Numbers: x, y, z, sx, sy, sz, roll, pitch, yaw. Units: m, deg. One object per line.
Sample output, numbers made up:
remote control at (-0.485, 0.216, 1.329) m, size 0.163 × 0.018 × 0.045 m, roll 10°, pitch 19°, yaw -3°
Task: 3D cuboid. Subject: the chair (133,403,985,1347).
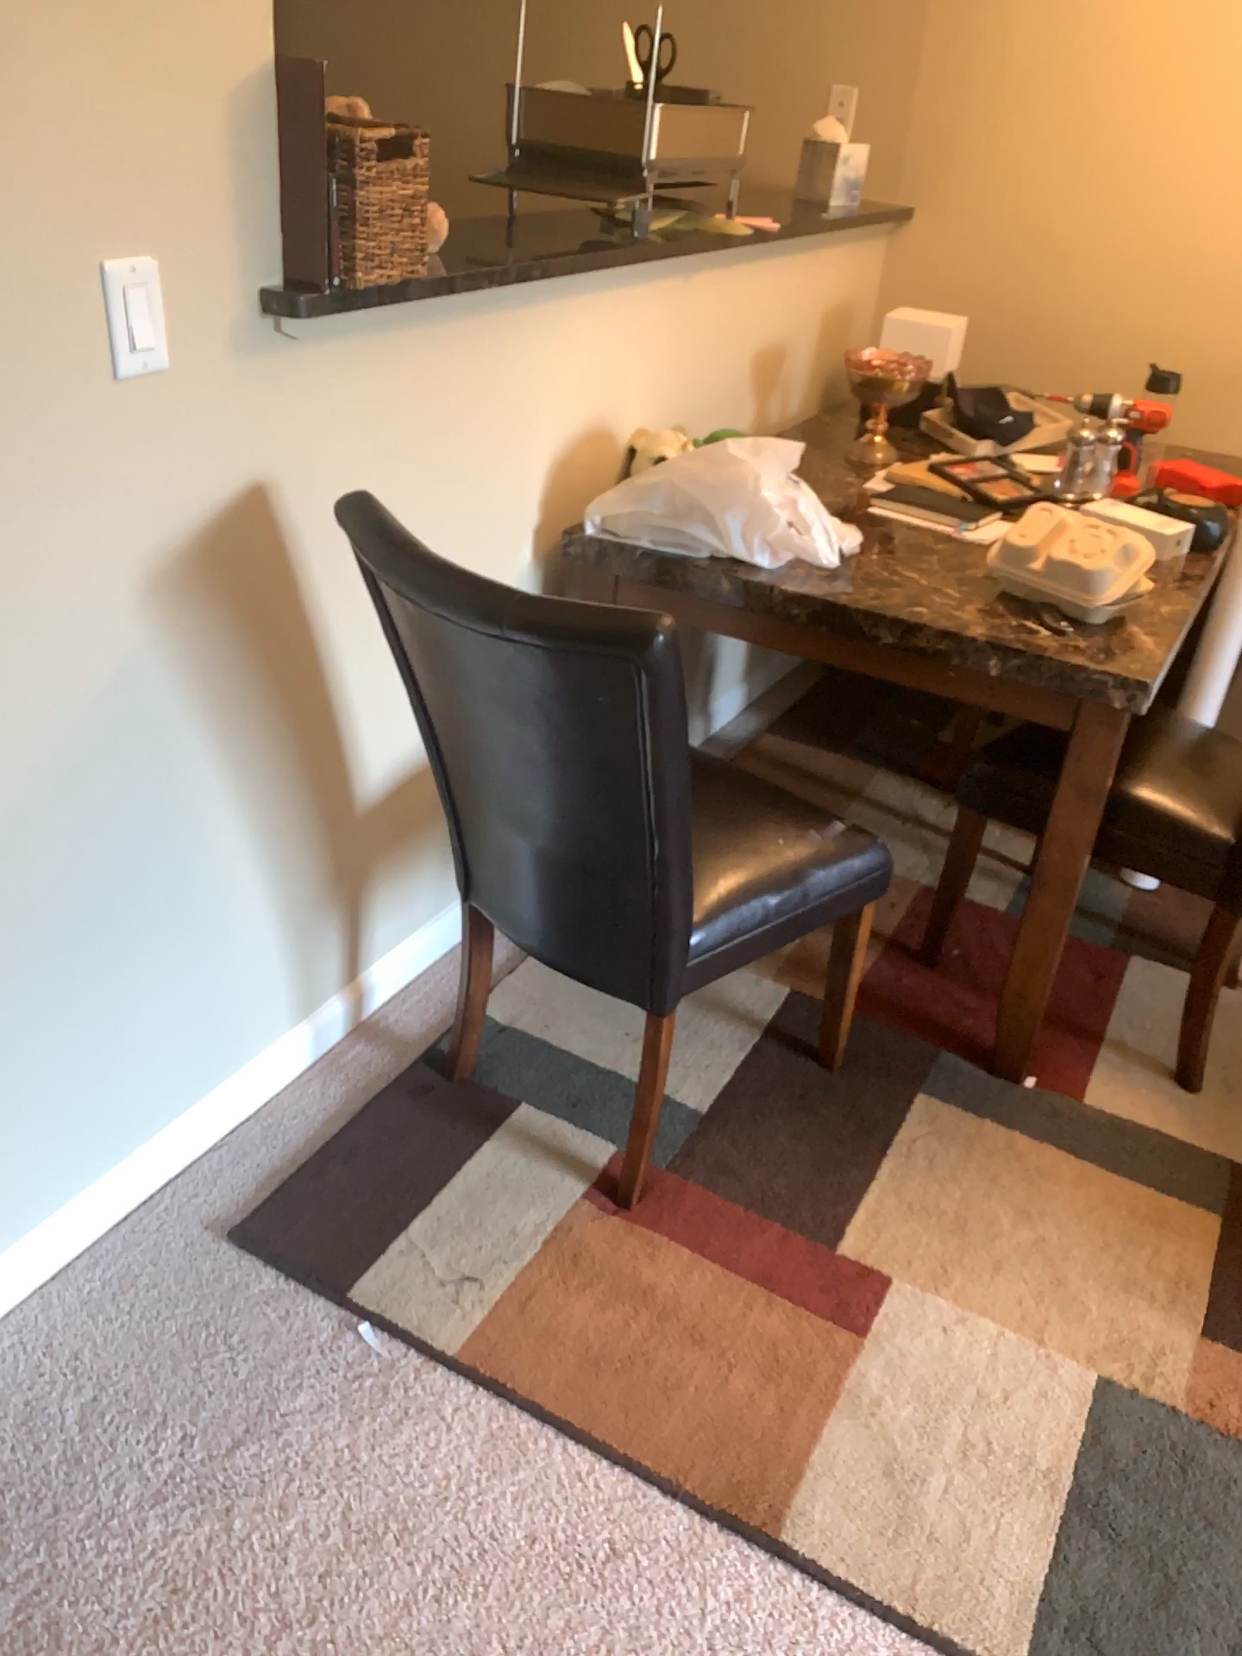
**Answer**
chair at (-0.097, -0.013, 1.869) m, size 0.812 × 0.925 × 0.732 m, roll 25°, pitch 36°, yaw 29°
